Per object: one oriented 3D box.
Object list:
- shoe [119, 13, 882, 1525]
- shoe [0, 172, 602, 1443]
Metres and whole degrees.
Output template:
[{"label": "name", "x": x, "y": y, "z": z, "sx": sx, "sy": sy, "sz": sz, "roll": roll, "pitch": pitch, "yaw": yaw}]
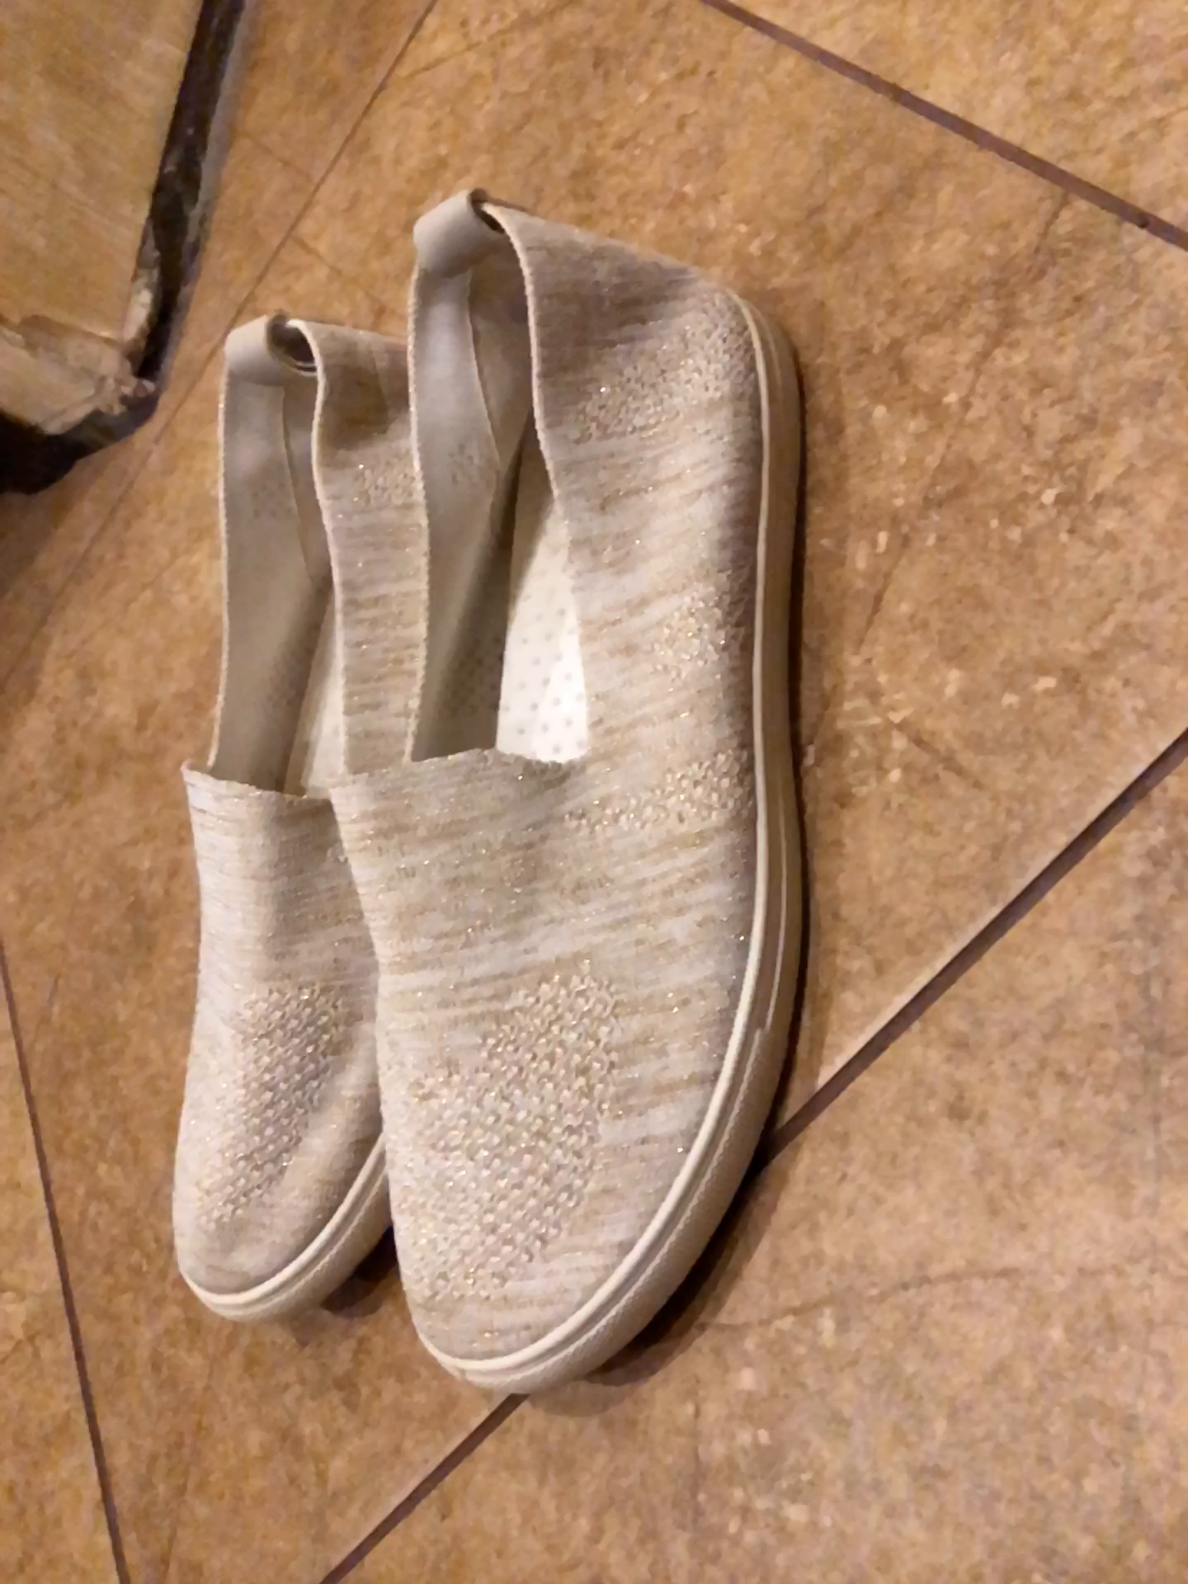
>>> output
[{"label": "shoe", "x": -0.012, "y": -0.008, "z": 0.278, "sx": 0.100, "sy": 0.080, "sz": 0.260, "roll": -7, "pitch": 70, "yaw": 42}, {"label": "shoe", "x": -0.083, "y": 0.002, "z": 0.309, "sx": 0.090, "sy": 0.080, "sz": 0.250, "roll": 3, "pitch": 76, "yaw": 44}]
